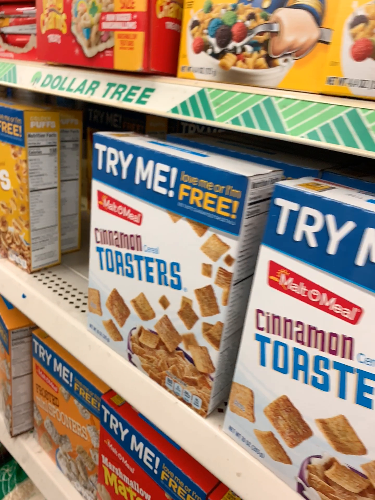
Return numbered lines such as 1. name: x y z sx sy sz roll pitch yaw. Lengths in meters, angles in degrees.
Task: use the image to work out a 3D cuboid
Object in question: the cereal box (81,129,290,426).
1. cereal box: -0.021 0.016 0.349 0.170 0.209 0.050 24 29 33
